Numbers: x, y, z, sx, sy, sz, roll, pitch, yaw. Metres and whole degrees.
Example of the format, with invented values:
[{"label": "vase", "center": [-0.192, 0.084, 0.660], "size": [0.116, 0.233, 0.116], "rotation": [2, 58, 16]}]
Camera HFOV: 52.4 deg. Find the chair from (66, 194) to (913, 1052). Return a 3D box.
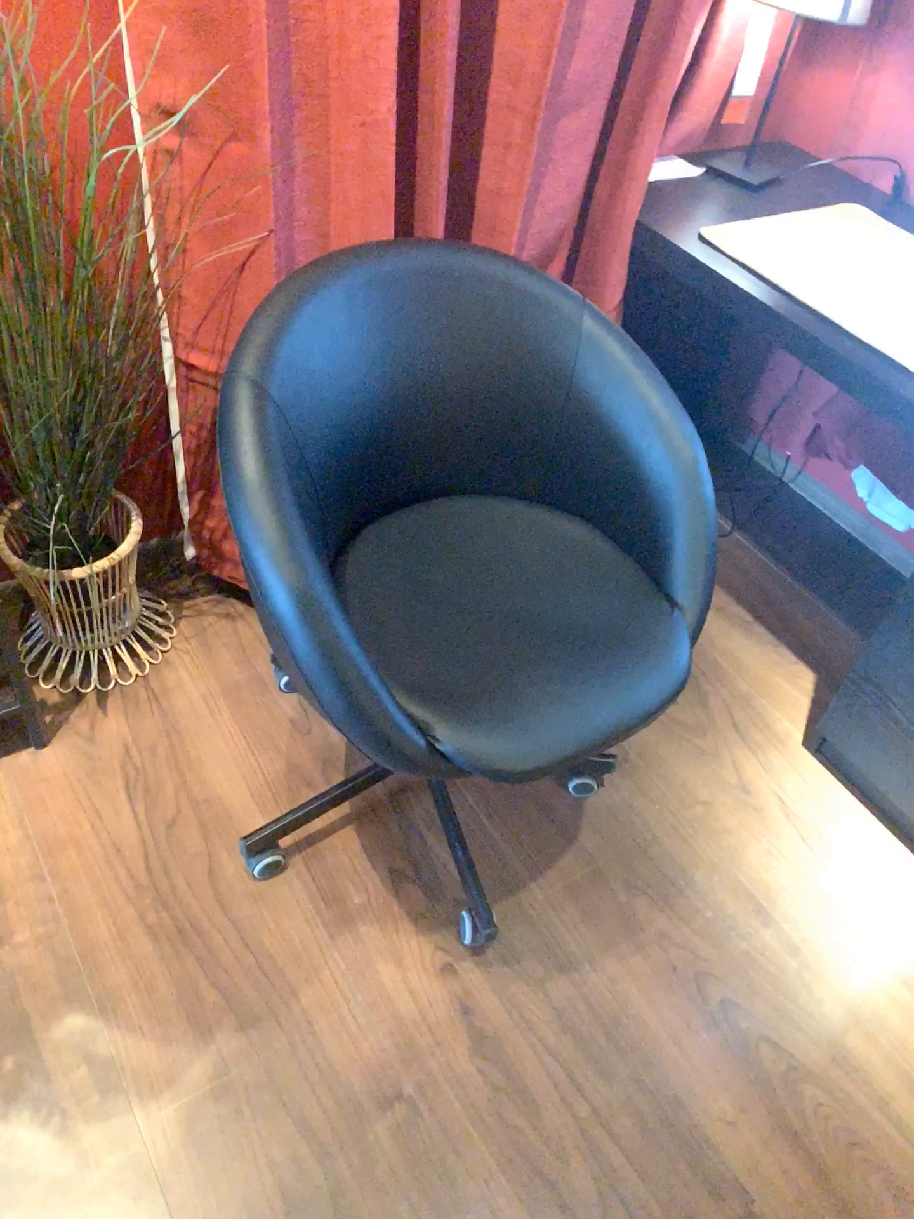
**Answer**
[{"label": "chair", "center": [-0.018, -0.014, 1.278], "size": [0.671, 0.757, 0.671], "rotation": [-23, 54, -29]}]
